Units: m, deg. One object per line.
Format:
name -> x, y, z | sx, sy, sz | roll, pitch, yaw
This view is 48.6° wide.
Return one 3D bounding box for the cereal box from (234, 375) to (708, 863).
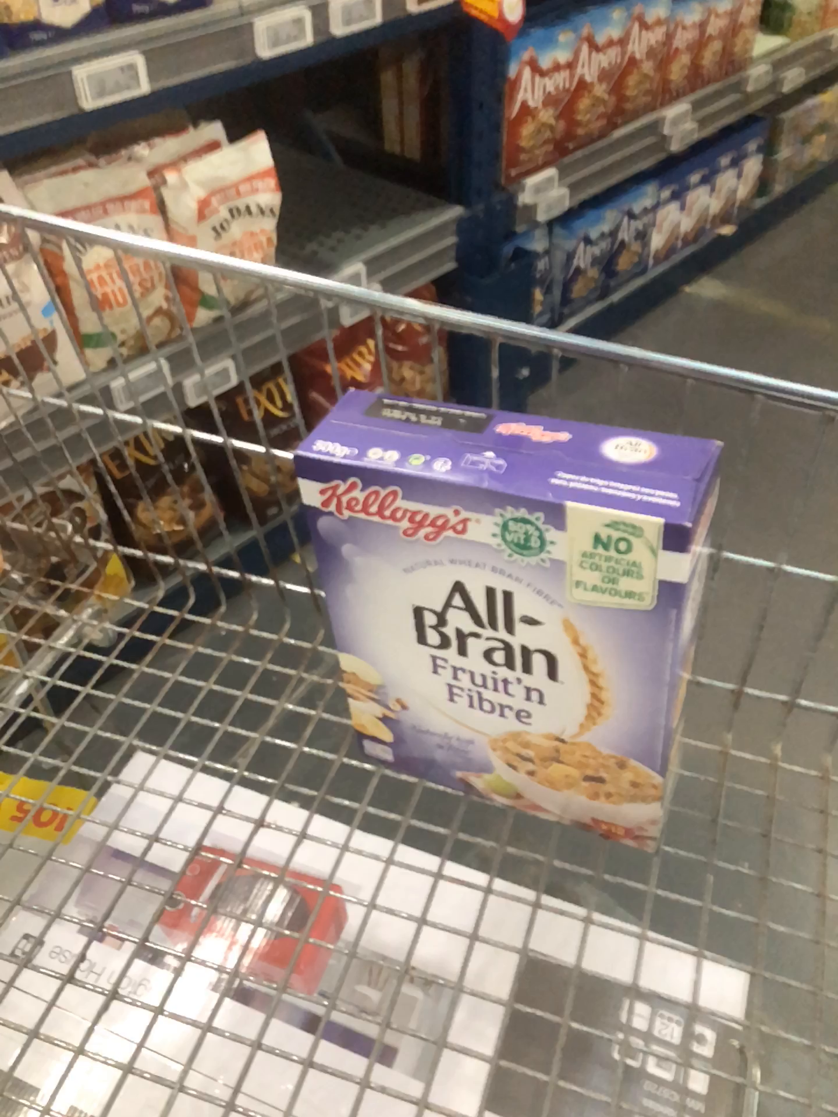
cereal box -> 0.033, 0.035, 0.471 | 0.190, 0.229, 0.070 | 11, 45, 22
